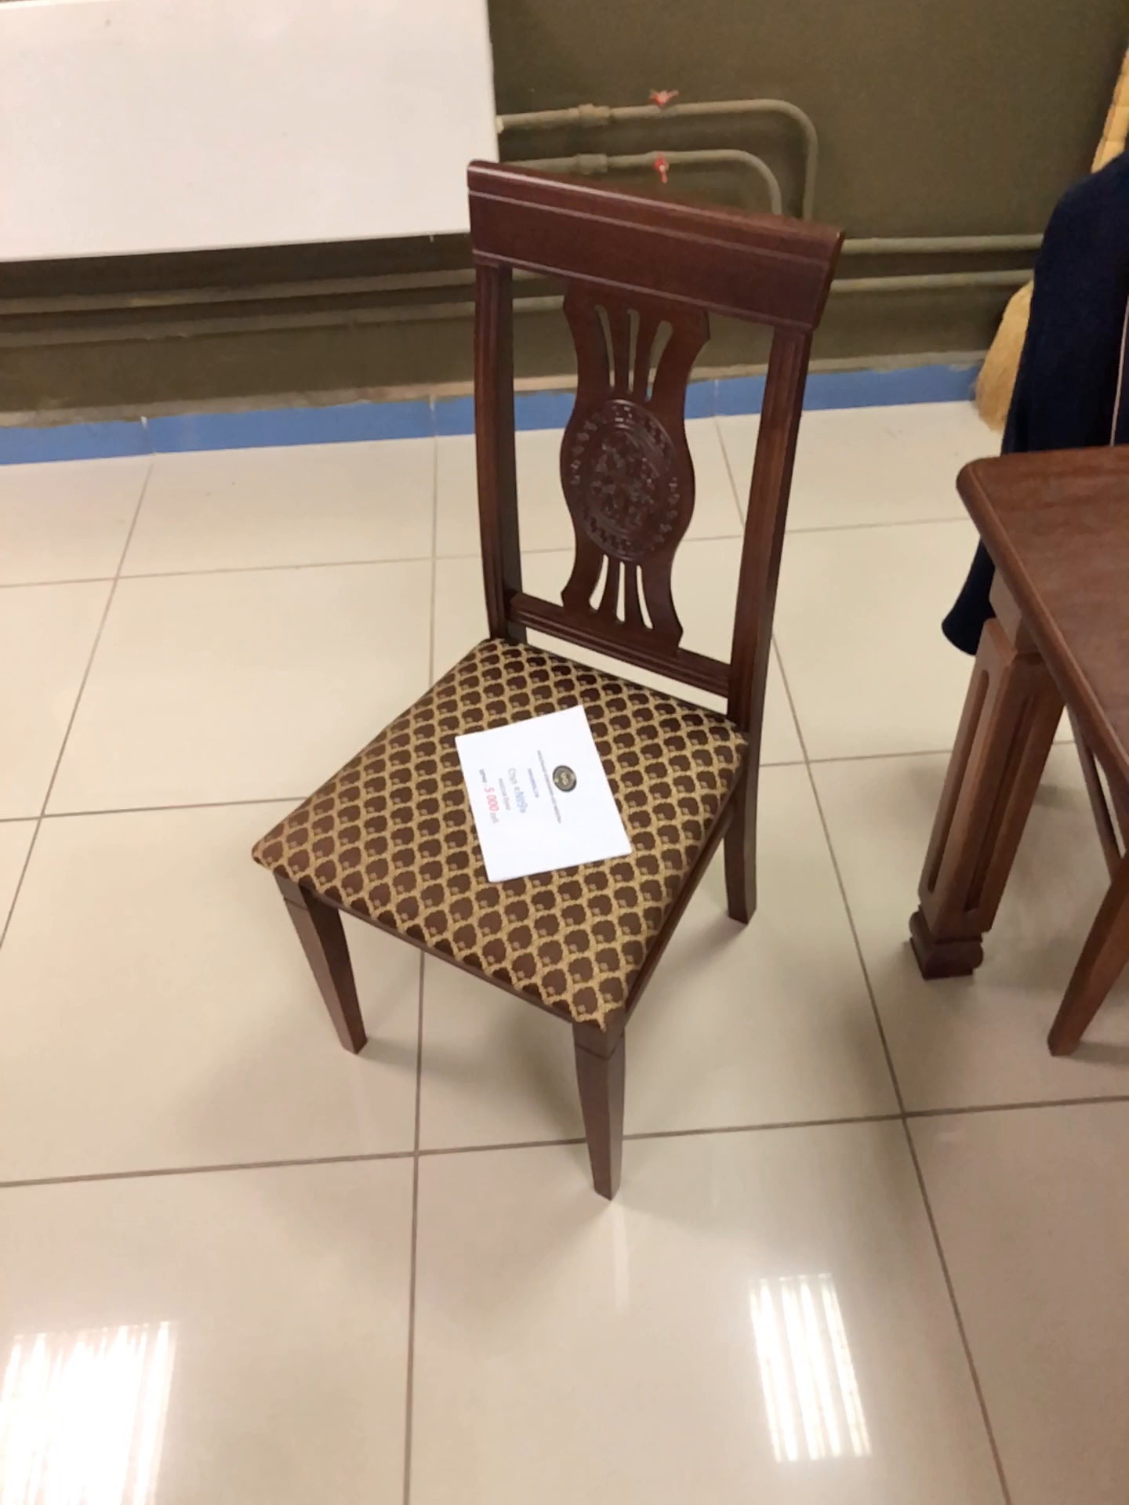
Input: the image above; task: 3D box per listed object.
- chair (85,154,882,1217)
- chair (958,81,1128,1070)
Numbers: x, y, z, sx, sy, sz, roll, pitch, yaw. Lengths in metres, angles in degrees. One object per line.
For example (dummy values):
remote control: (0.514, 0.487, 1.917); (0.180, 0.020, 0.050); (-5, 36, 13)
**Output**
chair: (-0.027, -0.025, 1.306); (0.436, 0.935, 0.472); (22, 51, 24)
chair: (0.790, -0.127, 1.366); (0.430, 0.955, 0.493); (-2, 45, 2)
